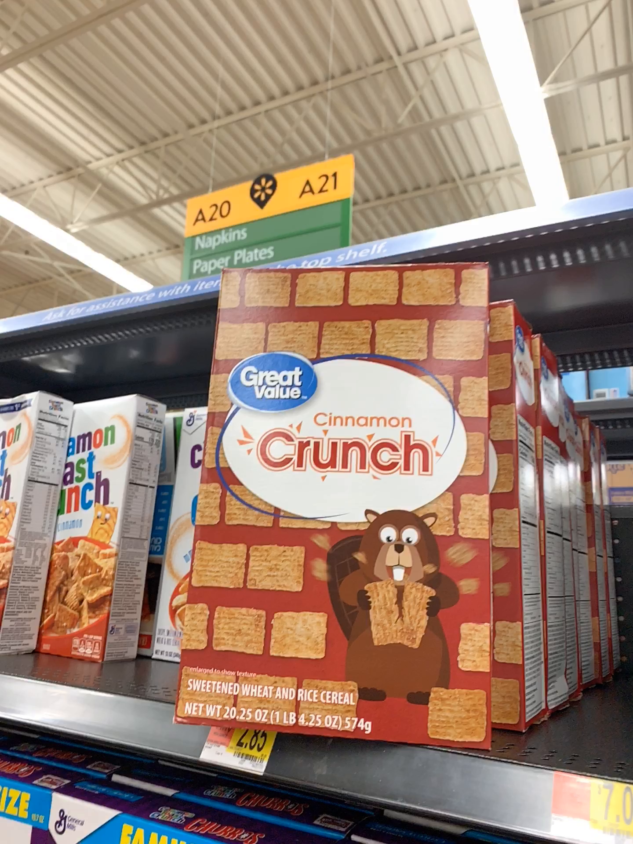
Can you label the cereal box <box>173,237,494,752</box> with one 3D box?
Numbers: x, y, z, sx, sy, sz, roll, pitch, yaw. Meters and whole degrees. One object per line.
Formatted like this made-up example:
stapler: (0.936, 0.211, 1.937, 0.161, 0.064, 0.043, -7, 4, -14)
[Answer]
cereal box: (0.021, 0.035, 0.461, 0.190, 0.331, 0.070, 2, -15, 6)
